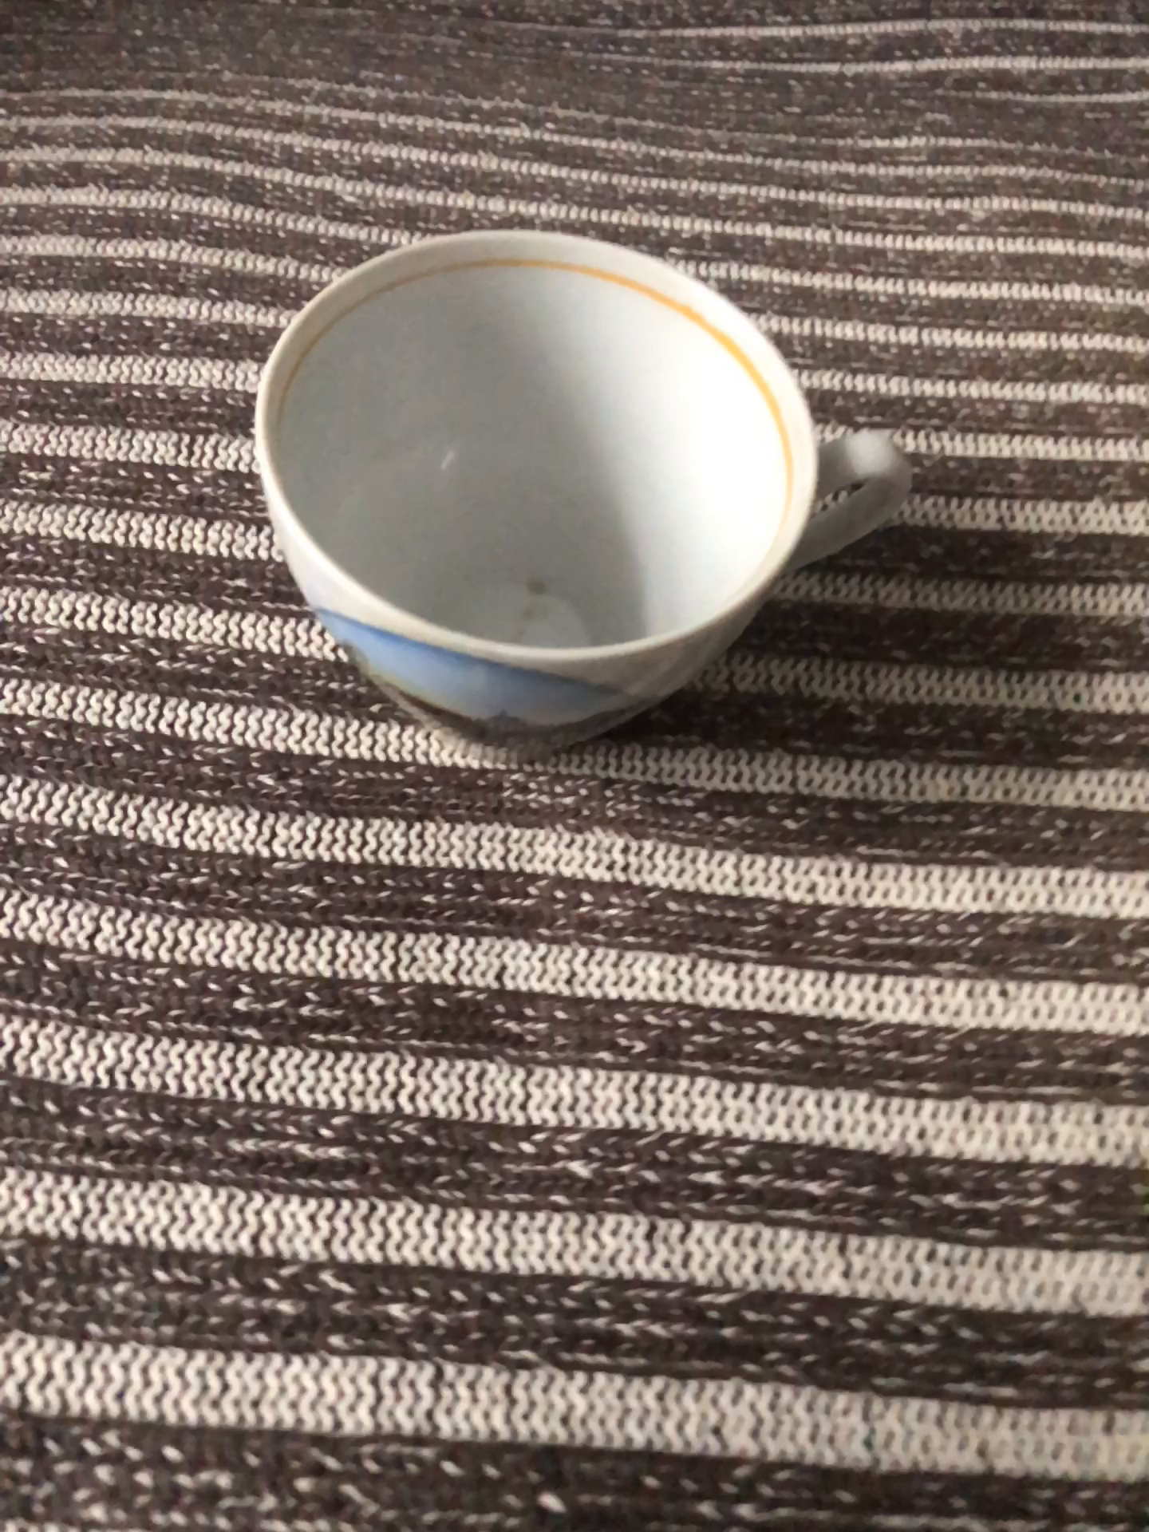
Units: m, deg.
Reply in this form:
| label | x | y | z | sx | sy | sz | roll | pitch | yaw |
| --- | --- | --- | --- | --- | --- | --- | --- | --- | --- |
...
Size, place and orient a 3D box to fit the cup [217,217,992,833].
| label | x | y | z | sx | sy | sz | roll | pitch | yaw |
| --- | --- | --- | --- | --- | --- | --- | --- | --- | --- |
| cup | 0.000 | -0.028 | 0.163 | 0.079 | 0.042 | 0.061 | 0 | 63 | -7 |
